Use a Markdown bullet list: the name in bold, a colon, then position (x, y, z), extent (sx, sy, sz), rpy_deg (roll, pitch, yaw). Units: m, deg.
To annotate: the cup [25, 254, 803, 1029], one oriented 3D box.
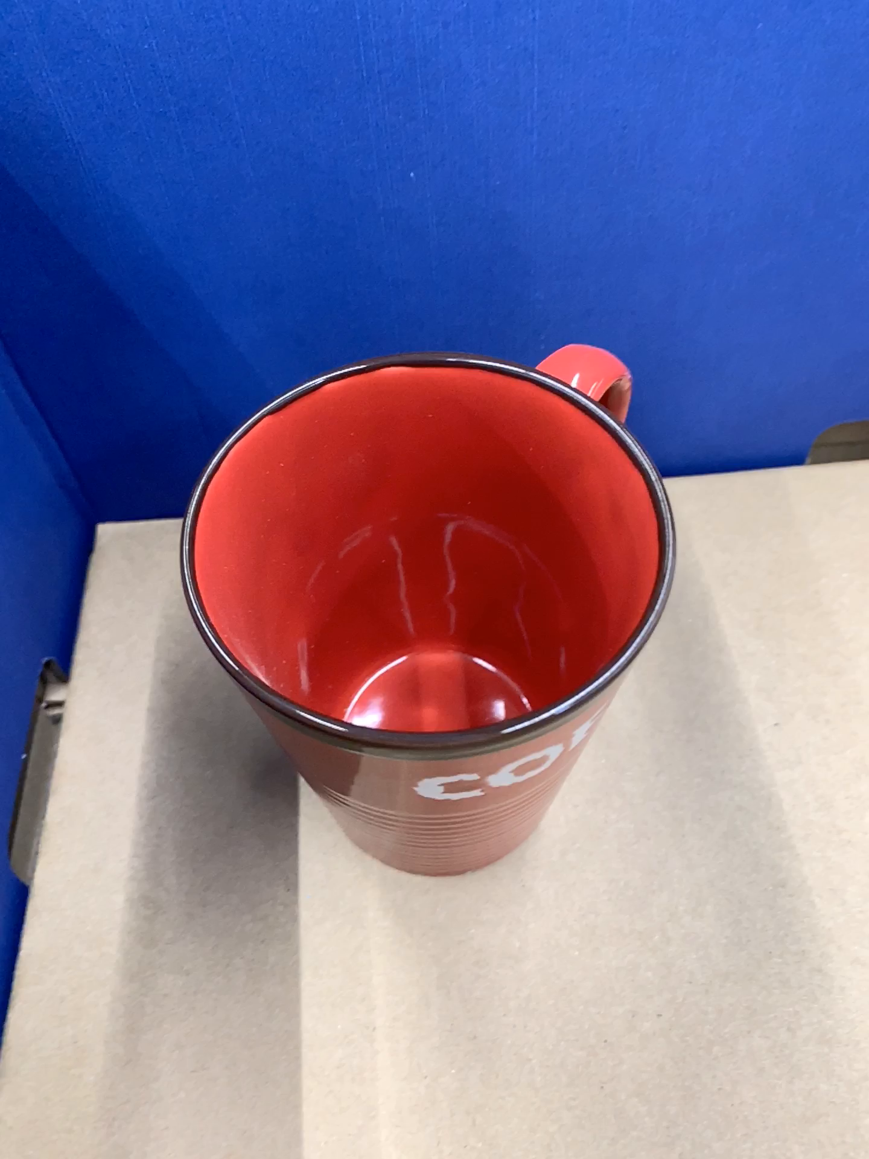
- **cup**: position (0.003, 0.009, 0.215), extent (0.100, 0.092, 0.125), rpy_deg (27, 58, 23)
